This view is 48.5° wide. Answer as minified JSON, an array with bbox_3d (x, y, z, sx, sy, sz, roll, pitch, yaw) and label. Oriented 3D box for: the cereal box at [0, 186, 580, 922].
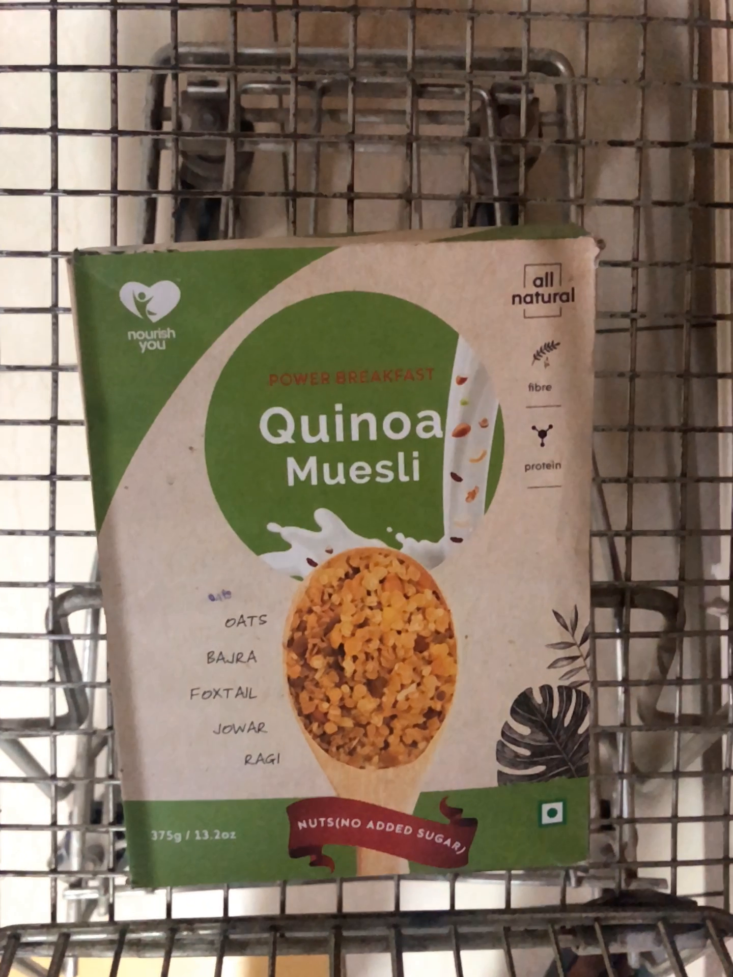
[{"bbox_3d":[-0.019,0.020,0.266,0.160,0.060,0.210,-4,101,-4],"label":"cereal box"}]
